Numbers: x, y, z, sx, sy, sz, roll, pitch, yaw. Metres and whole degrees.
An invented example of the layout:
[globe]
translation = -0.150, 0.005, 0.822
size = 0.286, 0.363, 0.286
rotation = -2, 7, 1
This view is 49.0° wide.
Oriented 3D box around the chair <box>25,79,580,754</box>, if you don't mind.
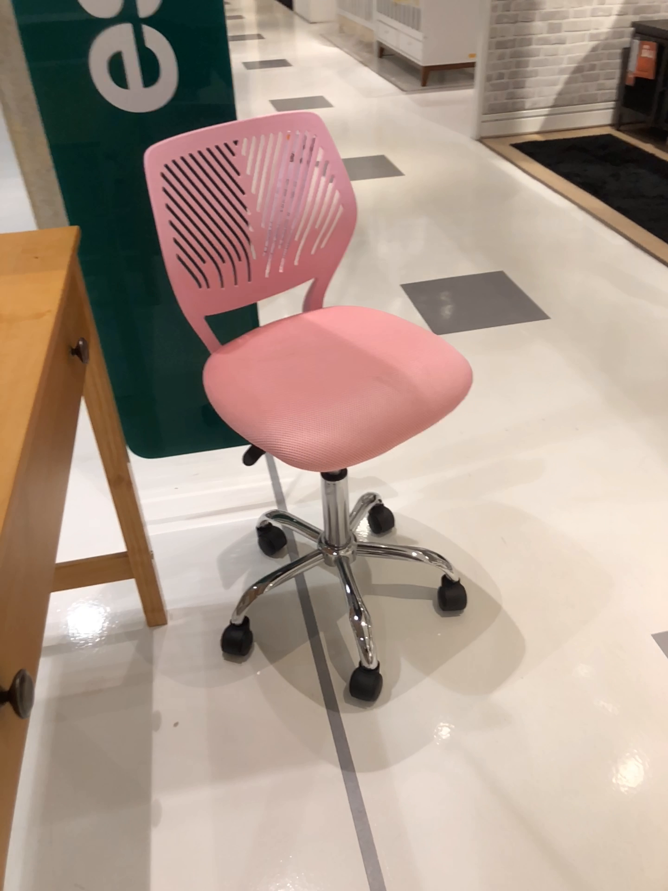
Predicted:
[chair]
translation = -0.027, -0.071, 1.193
size = 0.522, 0.833, 0.502
rotation = 28, 46, 36
